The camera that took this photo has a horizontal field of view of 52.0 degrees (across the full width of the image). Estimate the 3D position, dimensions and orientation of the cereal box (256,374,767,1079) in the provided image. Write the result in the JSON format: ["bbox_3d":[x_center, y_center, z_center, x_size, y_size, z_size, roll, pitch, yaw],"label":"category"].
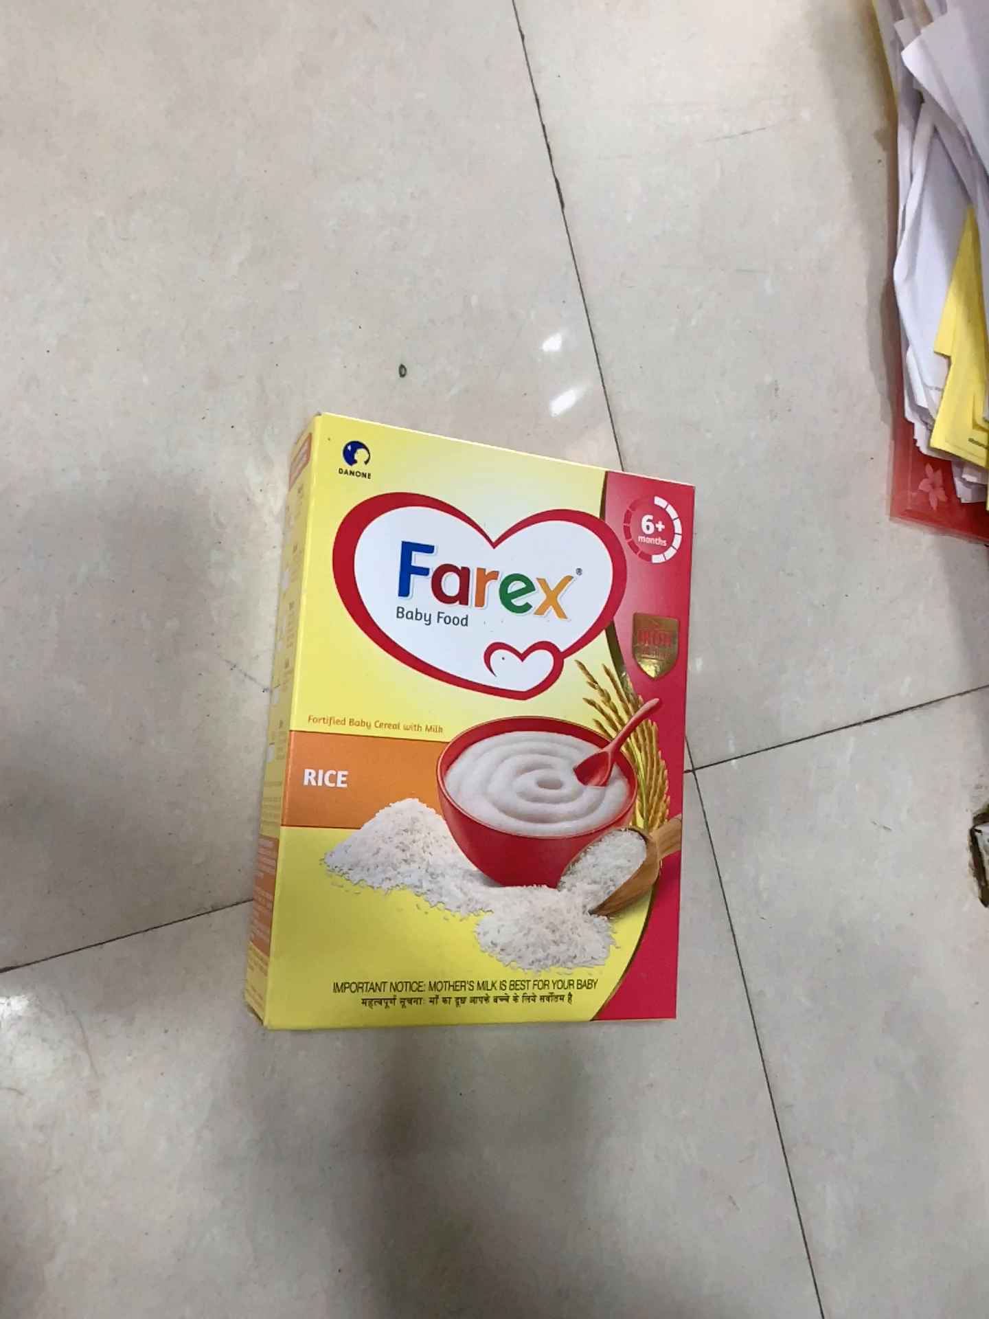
[{"bbox_3d":[0.010,0.026,0.358,0.160,0.060,0.210,6,81,-22],"label":"cereal box"}]
